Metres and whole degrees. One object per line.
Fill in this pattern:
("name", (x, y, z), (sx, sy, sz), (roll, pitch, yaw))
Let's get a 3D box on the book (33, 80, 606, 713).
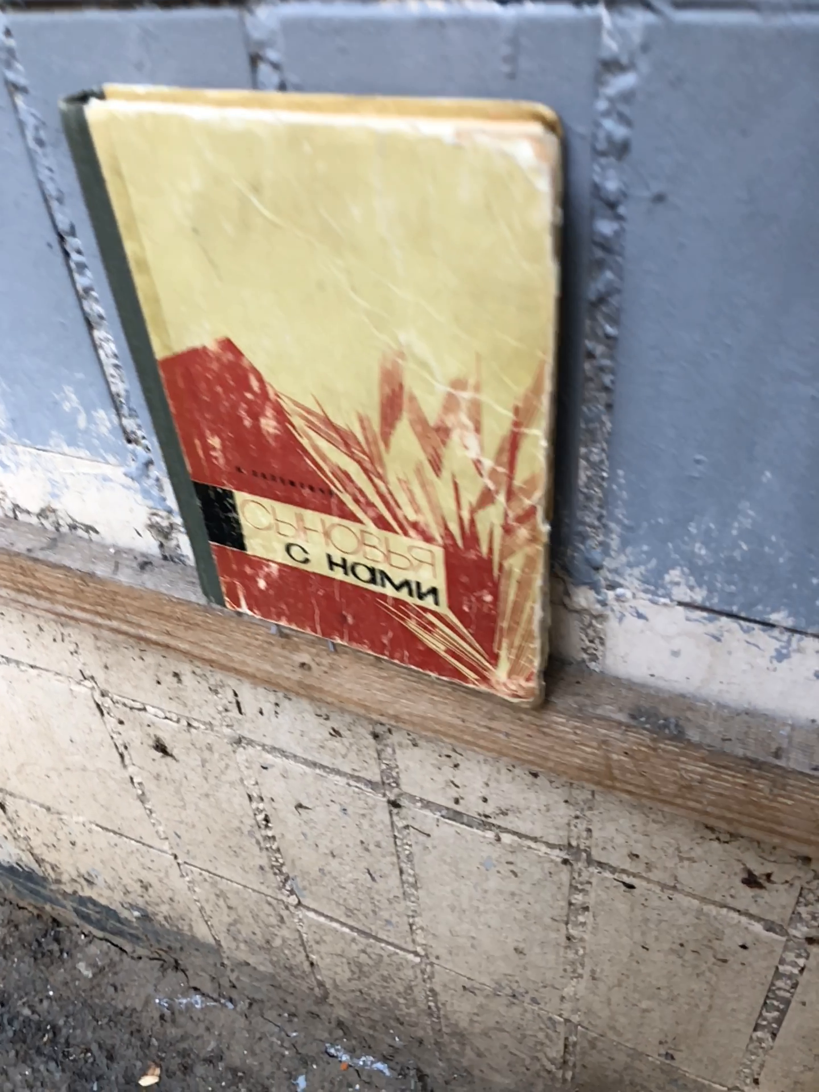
("book", (-0.021, -0.036, 0.244), (0.135, 0.156, 0.020), (14, 40, 23))
